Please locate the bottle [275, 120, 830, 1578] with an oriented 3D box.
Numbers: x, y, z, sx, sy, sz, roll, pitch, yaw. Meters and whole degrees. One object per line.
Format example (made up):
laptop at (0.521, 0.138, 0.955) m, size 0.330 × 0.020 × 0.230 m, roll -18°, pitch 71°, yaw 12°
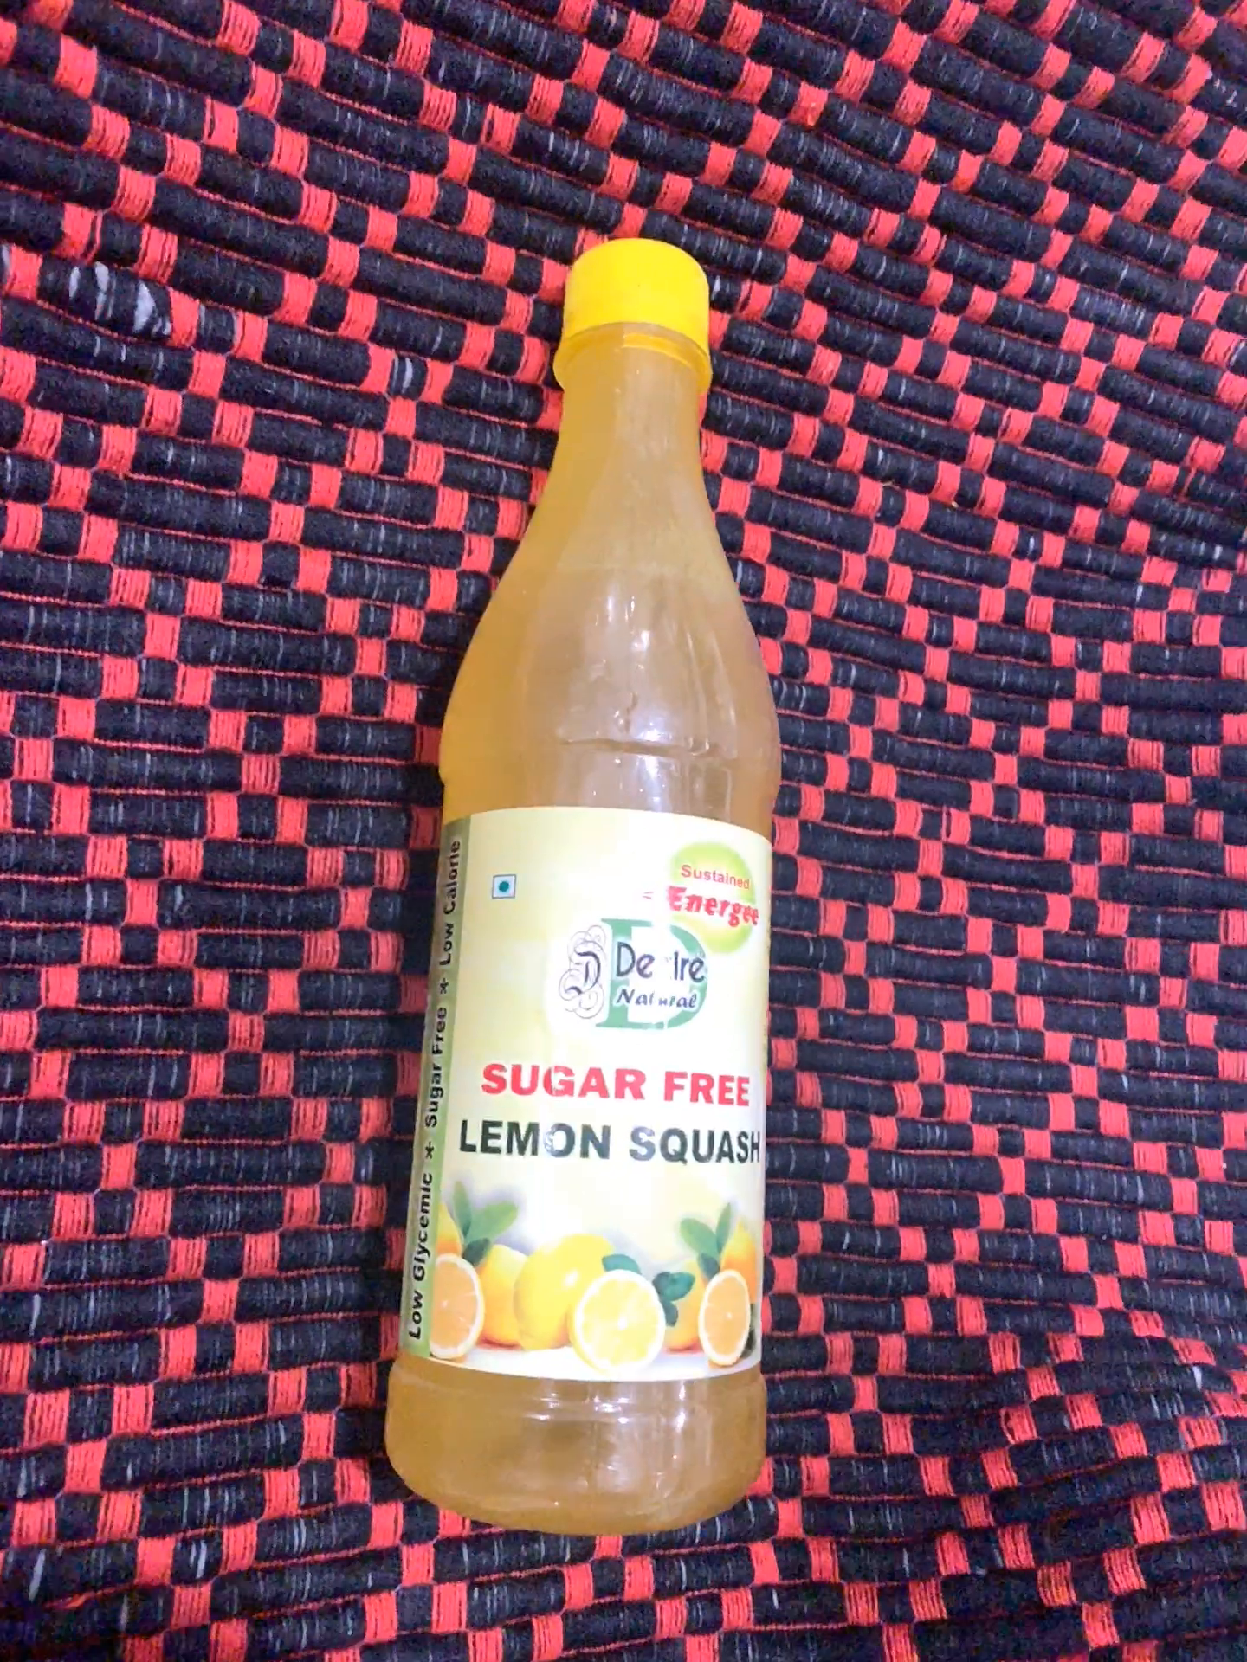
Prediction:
bottle at (-0.012, -0.003, 0.237) m, size 0.070 × 0.060 × 0.230 m, roll 9°, pitch 72°, yaw -25°
